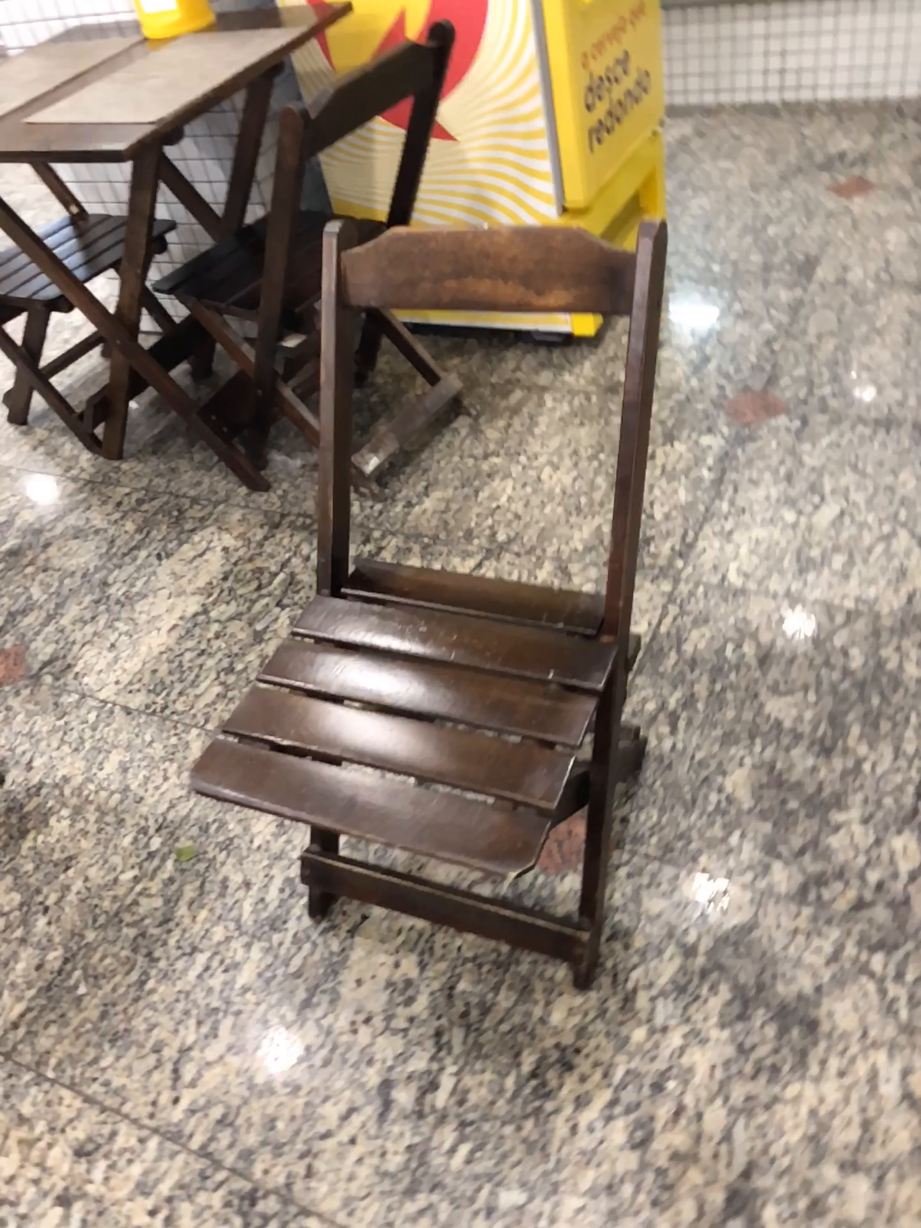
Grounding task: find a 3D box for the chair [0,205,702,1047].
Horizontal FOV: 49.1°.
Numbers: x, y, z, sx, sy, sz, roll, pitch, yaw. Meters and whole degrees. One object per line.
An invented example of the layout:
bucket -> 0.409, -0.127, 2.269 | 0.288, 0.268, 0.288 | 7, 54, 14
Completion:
chair -> -0.014, 0.006, 1.148 | 0.441, 0.705, 0.553 | 8, 46, 23
